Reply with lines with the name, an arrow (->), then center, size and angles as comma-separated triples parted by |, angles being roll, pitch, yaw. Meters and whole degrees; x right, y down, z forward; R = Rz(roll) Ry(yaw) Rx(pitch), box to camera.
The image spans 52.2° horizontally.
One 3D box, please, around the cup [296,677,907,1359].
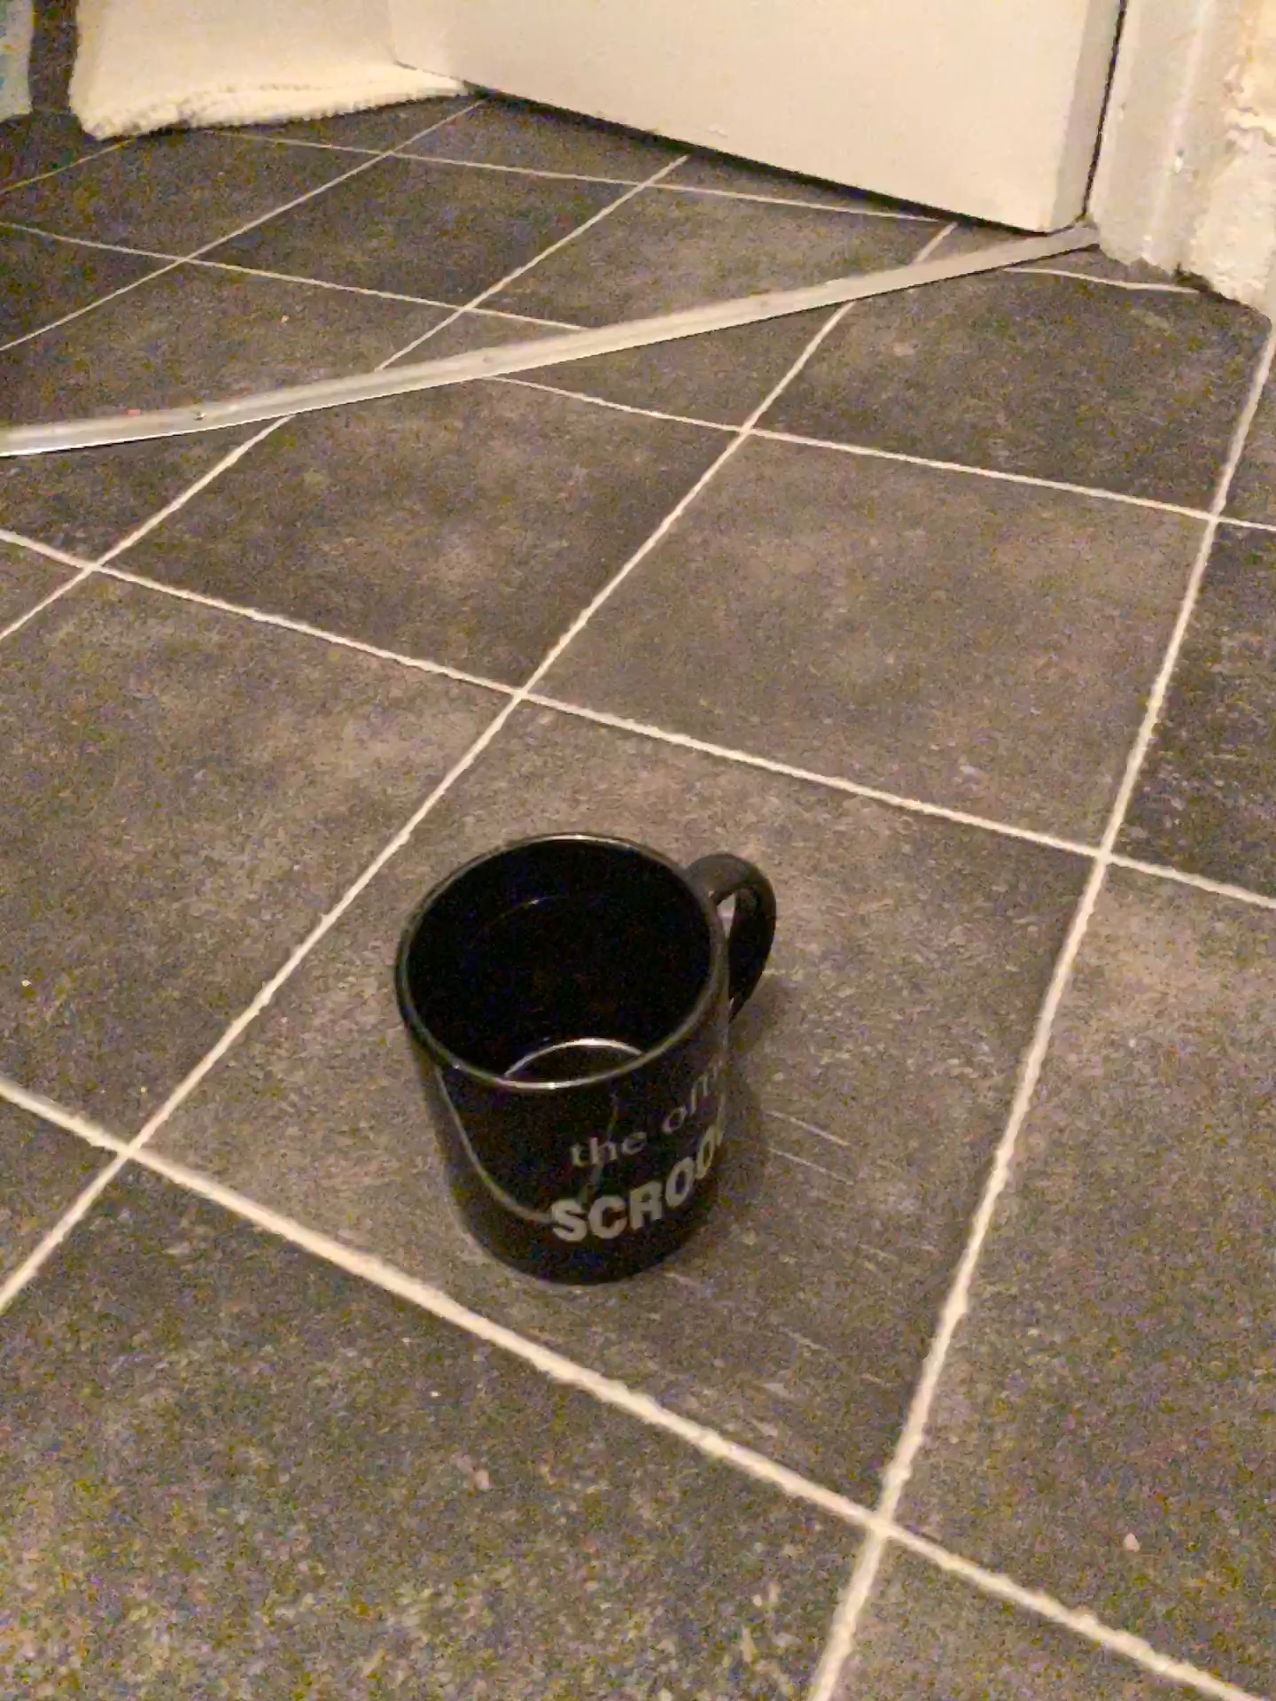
cup -> -0.004, 0.041, 0.359 | 0.090, 0.099, 0.131 | 28, 53, 28
